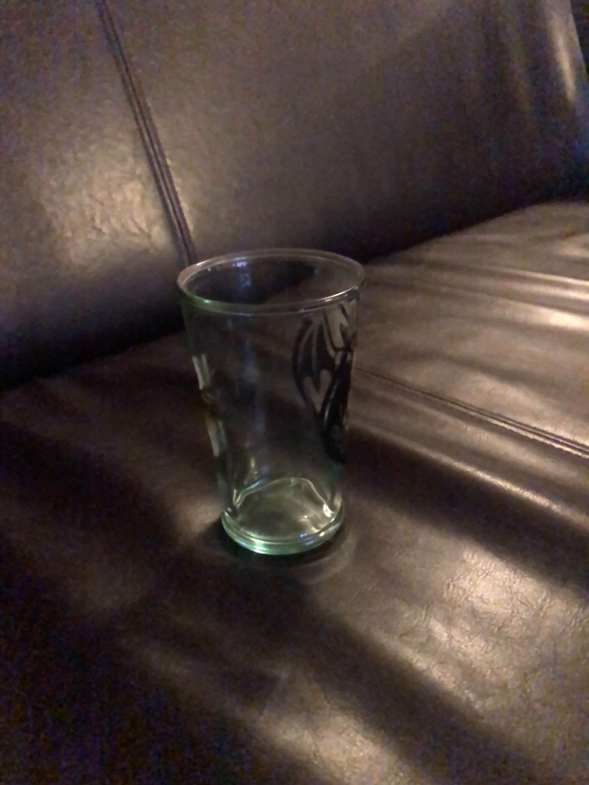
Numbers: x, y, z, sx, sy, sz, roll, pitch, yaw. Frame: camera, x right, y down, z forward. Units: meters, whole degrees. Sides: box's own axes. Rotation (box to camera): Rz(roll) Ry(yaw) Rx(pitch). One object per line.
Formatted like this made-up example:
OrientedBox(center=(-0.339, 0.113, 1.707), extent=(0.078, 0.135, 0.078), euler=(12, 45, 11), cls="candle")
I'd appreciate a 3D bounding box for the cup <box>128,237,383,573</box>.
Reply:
OrientedBox(center=(-0.015, 0.001, 0.287), extent=(0.087, 0.117, 0.085), euler=(-1, 26, 0), cls="cup")
